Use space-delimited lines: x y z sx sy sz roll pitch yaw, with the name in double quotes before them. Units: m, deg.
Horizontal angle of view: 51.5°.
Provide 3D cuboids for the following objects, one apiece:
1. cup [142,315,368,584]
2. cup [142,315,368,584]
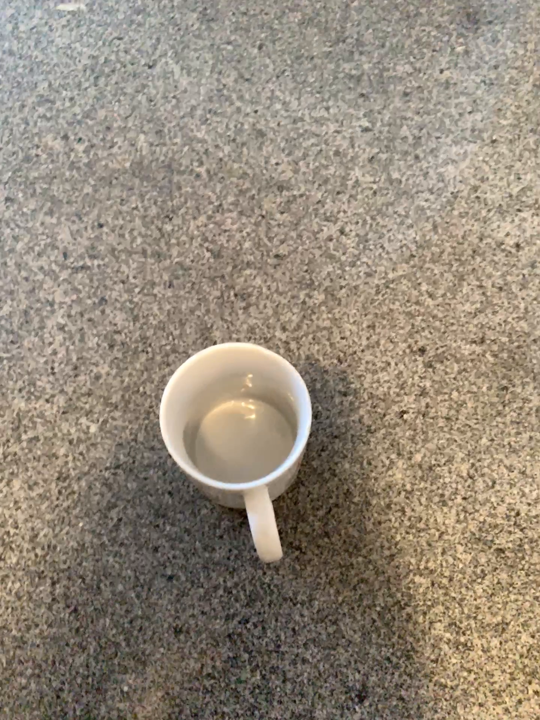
"cup" -0.011 0.058 0.329 0.090 0.100 0.120 -12 68 -4
"cup" -0.011 0.058 0.329 0.090 0.100 0.120 -12 68 -4
